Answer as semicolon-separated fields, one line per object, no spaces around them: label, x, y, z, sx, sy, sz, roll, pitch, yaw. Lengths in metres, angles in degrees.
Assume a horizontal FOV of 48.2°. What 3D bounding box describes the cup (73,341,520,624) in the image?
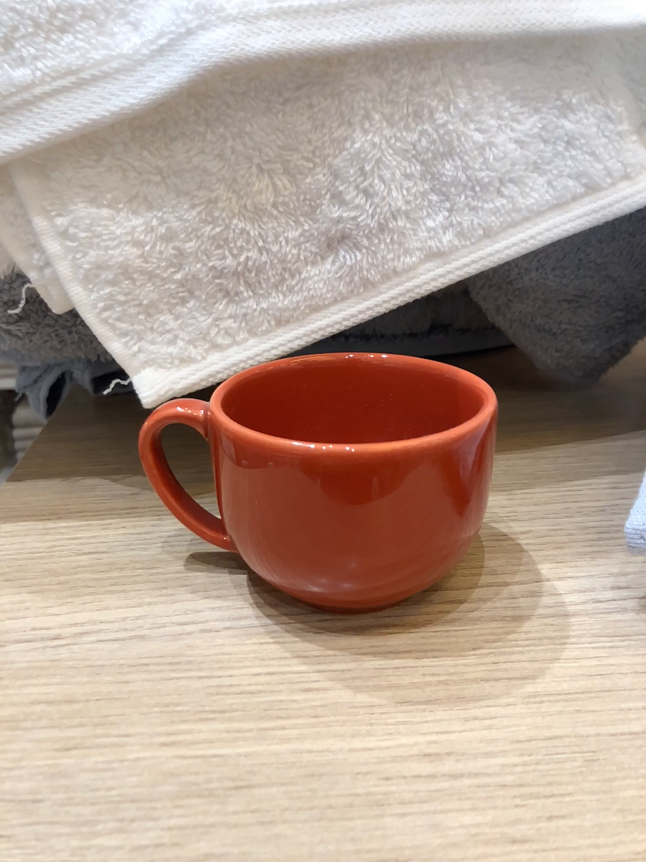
cup;-0.005;0.009;0.208;0.100;0.050;0.080;0;22;2
